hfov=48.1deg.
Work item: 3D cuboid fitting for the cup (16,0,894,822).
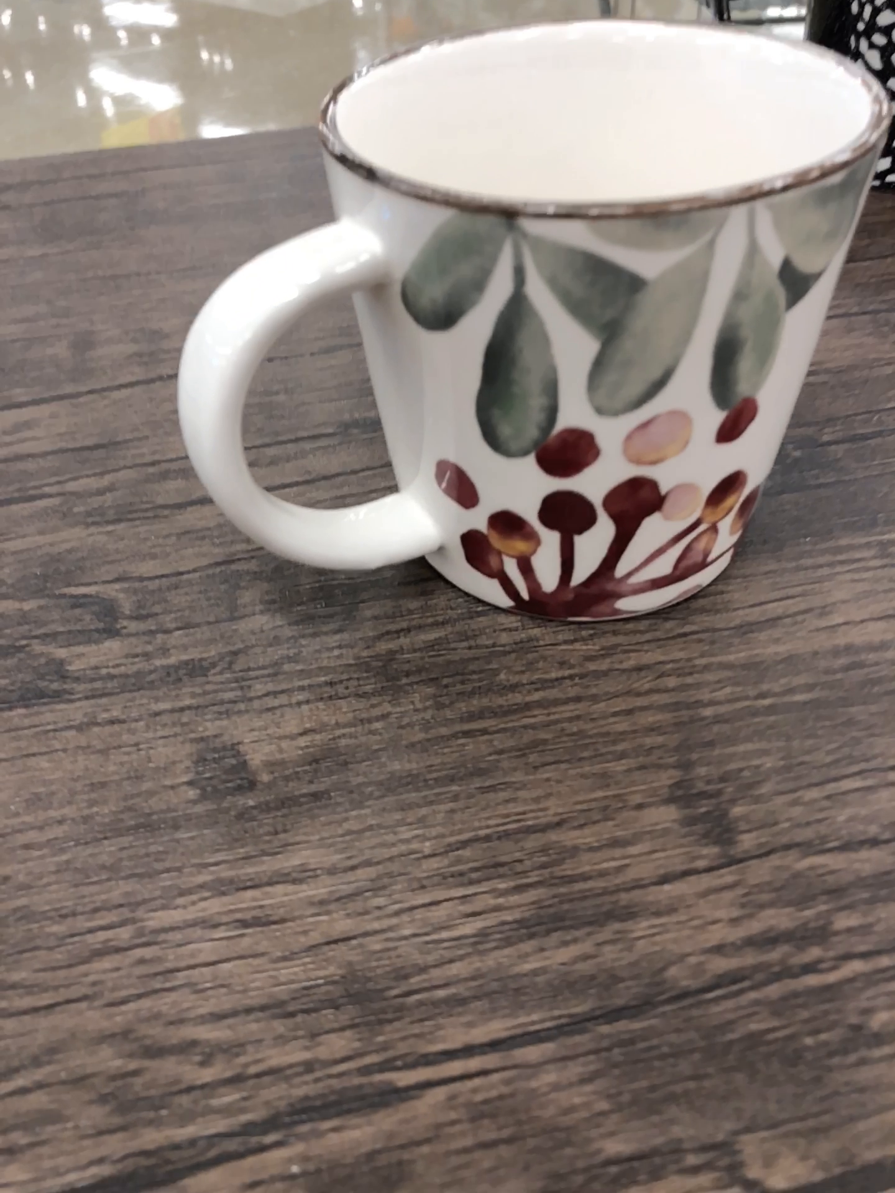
[{"bbox_3d":[0.014,-0.055,0.216,0.150,0.110,0.100,-26,48,-22],"label":"cup"}]
